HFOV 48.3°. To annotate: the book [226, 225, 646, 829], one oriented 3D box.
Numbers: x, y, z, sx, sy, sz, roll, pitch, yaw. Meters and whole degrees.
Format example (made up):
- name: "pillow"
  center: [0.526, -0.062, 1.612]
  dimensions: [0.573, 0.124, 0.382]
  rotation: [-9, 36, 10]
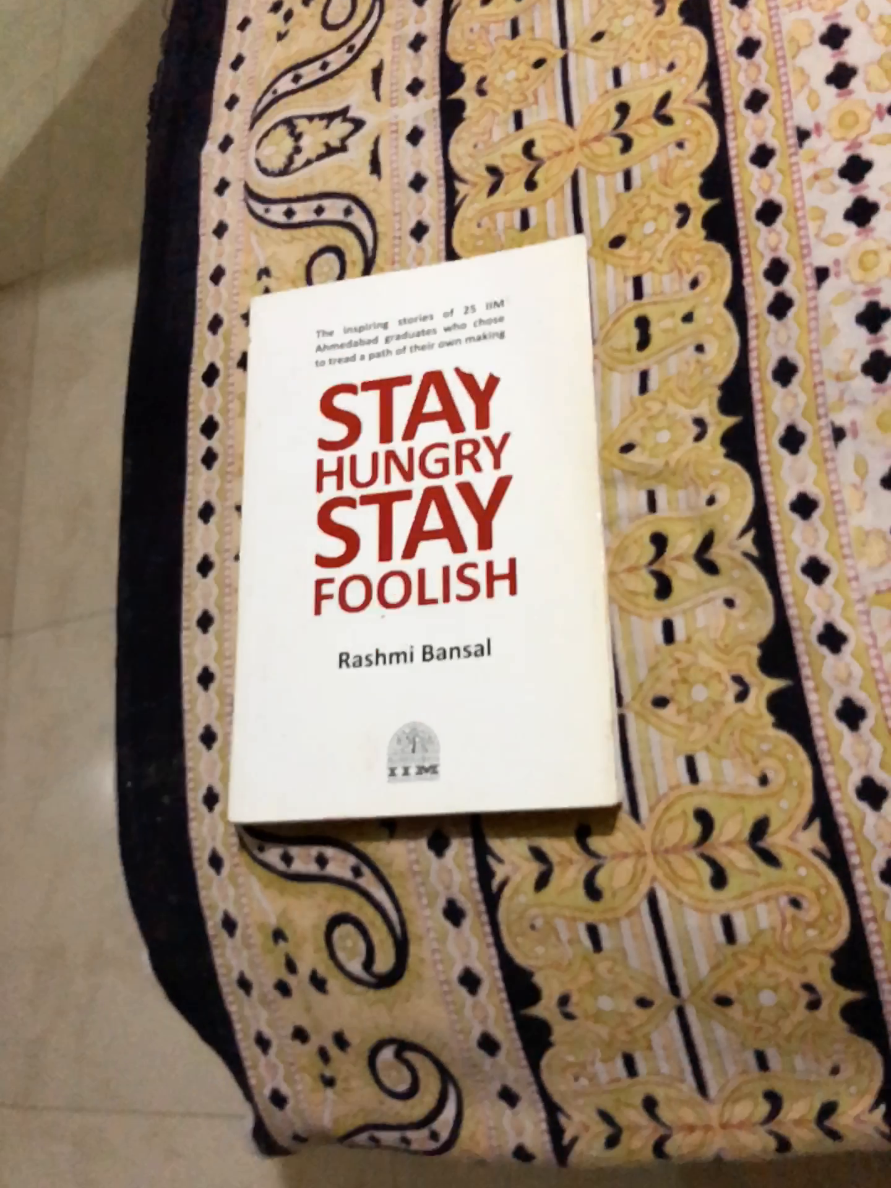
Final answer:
- name: "book"
  center: [-0.005, -0.022, 0.372]
  dimensions: [0.140, 0.040, 0.210]
  rotation: [-5, 73, 17]
